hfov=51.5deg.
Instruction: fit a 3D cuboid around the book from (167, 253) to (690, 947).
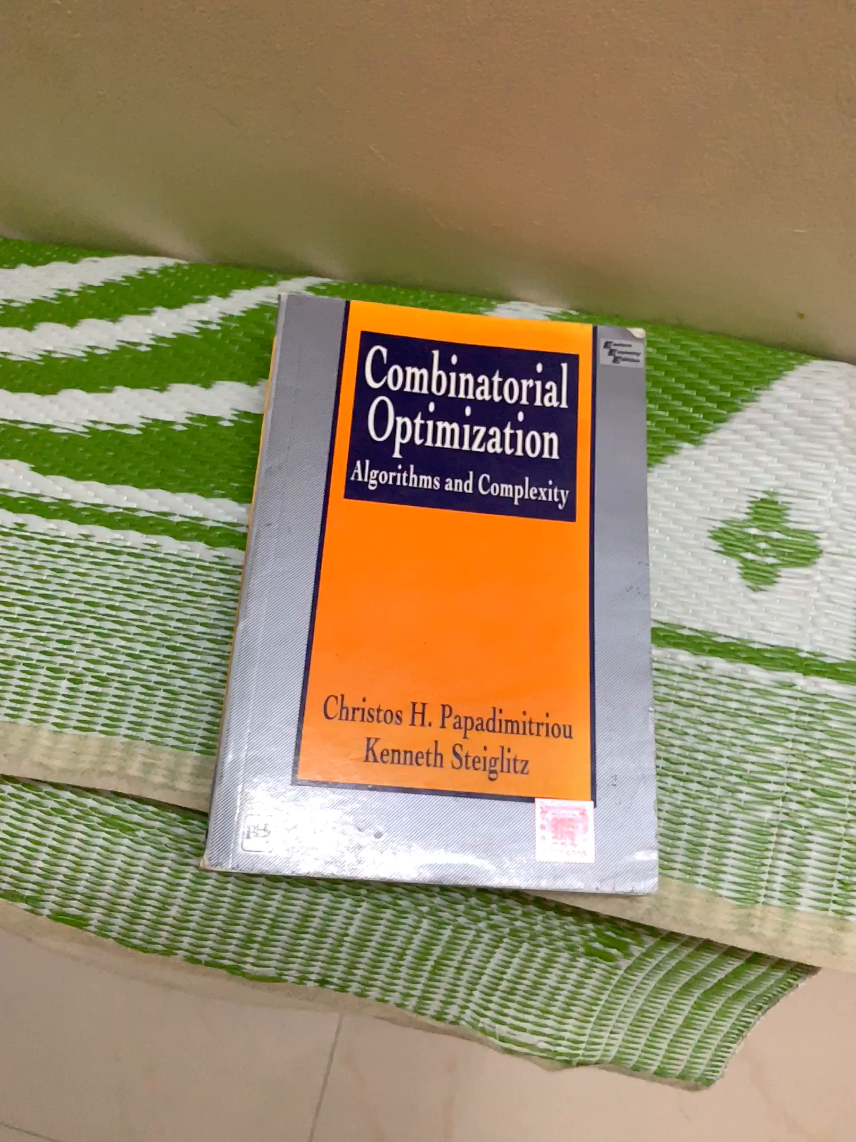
[{"bbox_3d":[0.006,0.001,0.359,0.170,0.040,0.271,5,66,-6],"label":"book"}]
